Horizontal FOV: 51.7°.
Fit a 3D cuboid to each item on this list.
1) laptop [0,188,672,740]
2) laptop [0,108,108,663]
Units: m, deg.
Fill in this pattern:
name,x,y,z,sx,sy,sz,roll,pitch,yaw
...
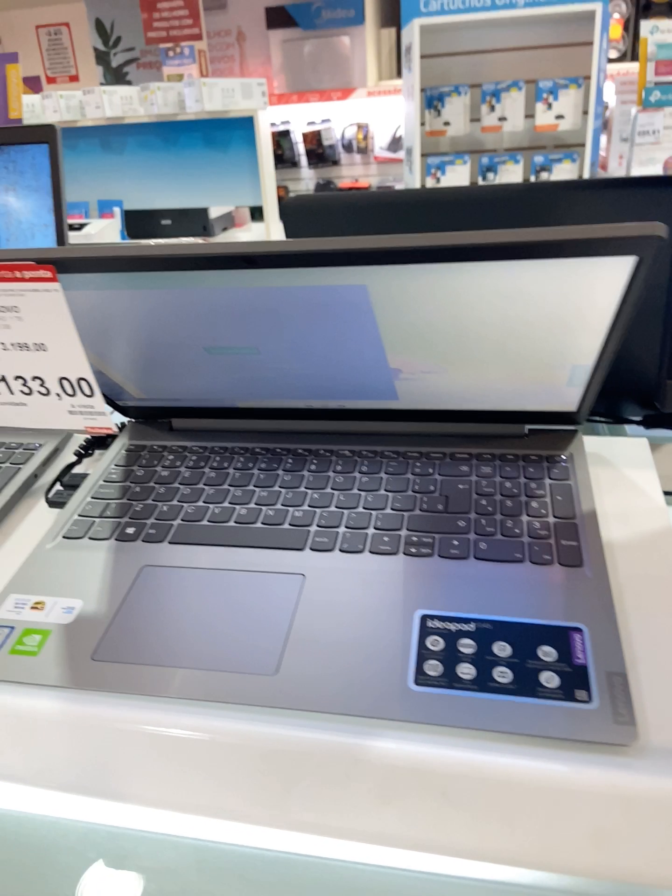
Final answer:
name,x,y,z,sx,sy,sz,roll,pitch,yaw
laptop,-0.025,-0.019,0.407,0.359,0.163,0.243,1,33,12
laptop,-0.421,-0.096,0.524,0.346,0.224,0.353,2,33,9
